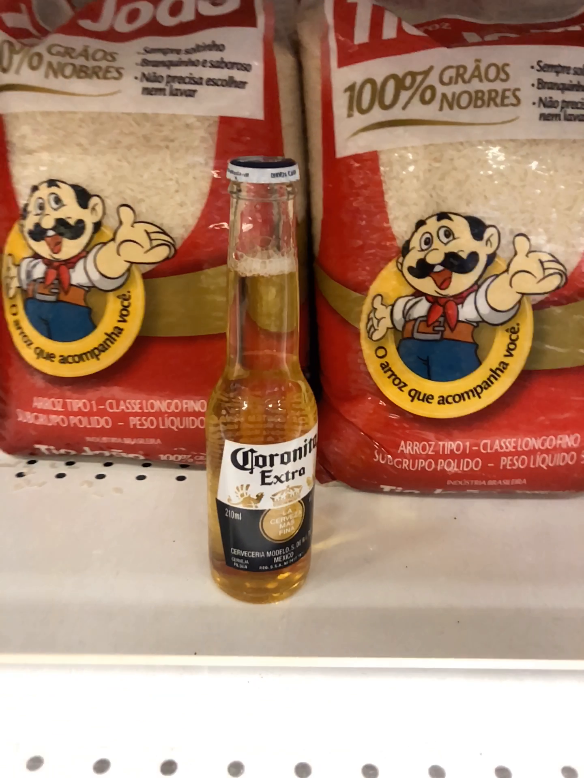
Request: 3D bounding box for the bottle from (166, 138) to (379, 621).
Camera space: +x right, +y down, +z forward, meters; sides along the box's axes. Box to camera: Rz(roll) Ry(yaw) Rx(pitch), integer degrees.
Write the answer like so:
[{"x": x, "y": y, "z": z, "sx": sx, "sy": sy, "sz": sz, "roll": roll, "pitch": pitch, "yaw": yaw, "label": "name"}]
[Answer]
[{"x": -0.012, "y": -0.001, "z": 0.286, "sx": 0.060, "sy": 0.198, "sz": 0.060, "roll": 1, "pitch": 27, "yaw": -1, "label": "bottle"}]
